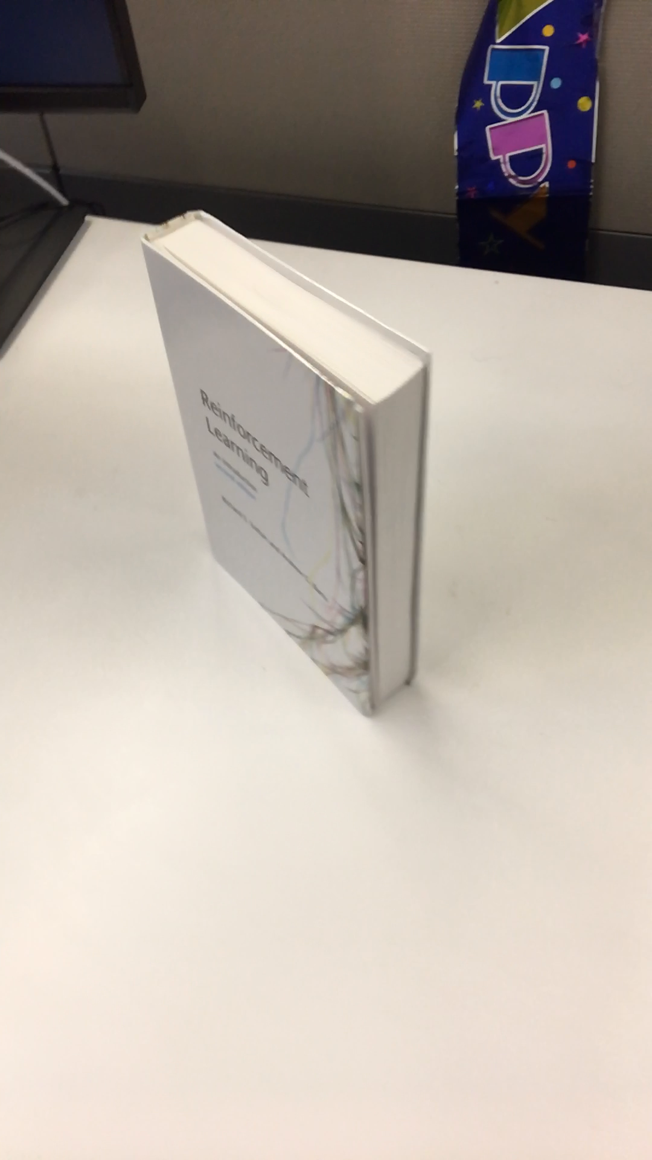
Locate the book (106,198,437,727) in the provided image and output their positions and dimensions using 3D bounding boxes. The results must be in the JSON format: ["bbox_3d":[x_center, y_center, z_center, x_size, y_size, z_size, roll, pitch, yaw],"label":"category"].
[{"bbox_3d":[-0.023,-0.055,0.520,0.050,0.230,0.180,-34,54,-22],"label":"book"}]
